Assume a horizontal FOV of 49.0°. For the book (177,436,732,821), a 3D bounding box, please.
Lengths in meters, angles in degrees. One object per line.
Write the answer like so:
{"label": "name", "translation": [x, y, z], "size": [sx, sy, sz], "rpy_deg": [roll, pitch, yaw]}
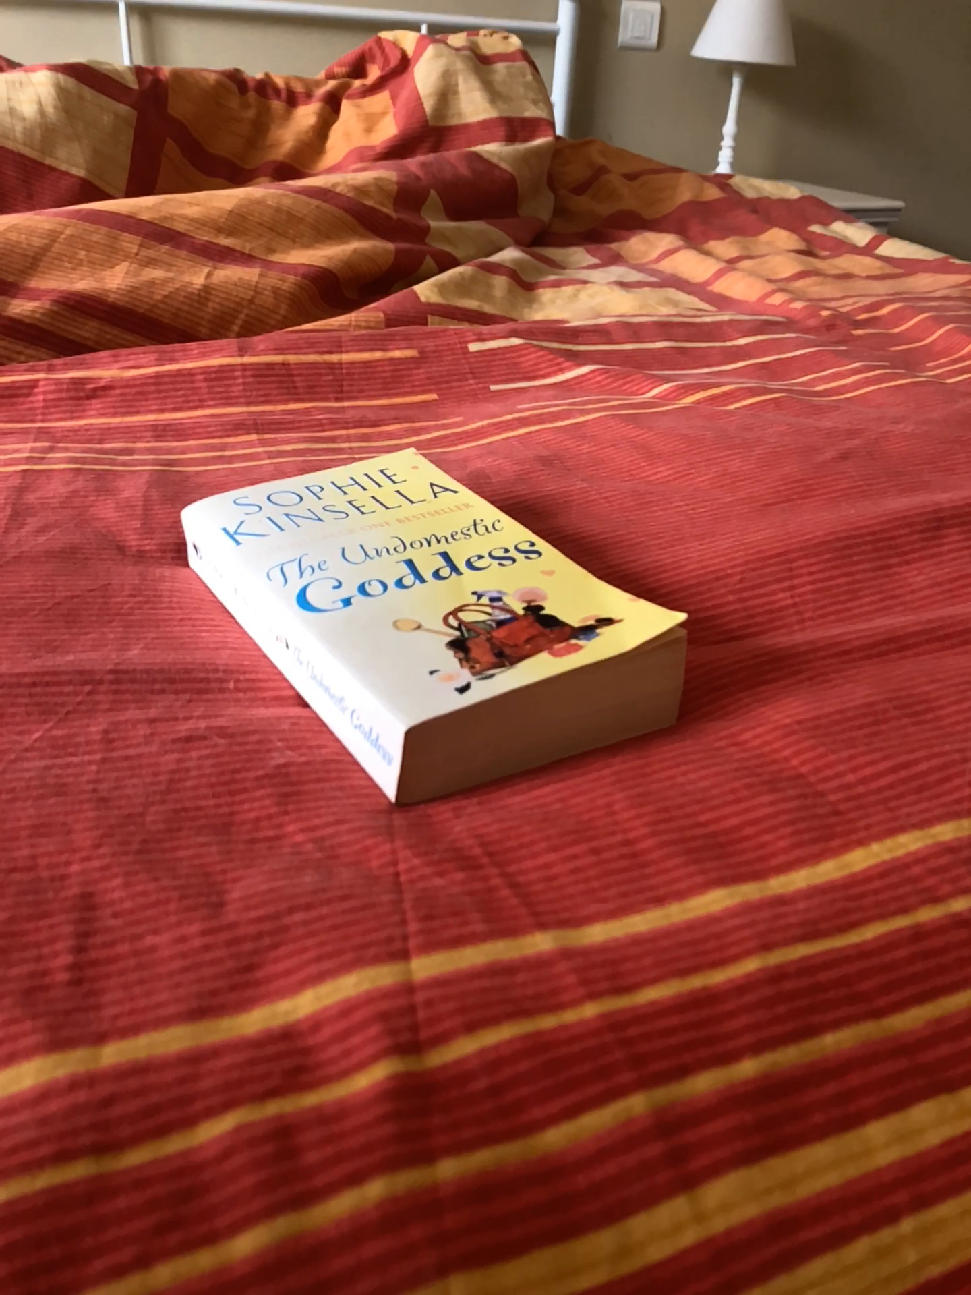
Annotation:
{"label": "book", "translation": [-0.021, -0.022, 0.385], "size": [0.121, 0.040, 0.180], "rpy_deg": [-15, 35, -29]}
